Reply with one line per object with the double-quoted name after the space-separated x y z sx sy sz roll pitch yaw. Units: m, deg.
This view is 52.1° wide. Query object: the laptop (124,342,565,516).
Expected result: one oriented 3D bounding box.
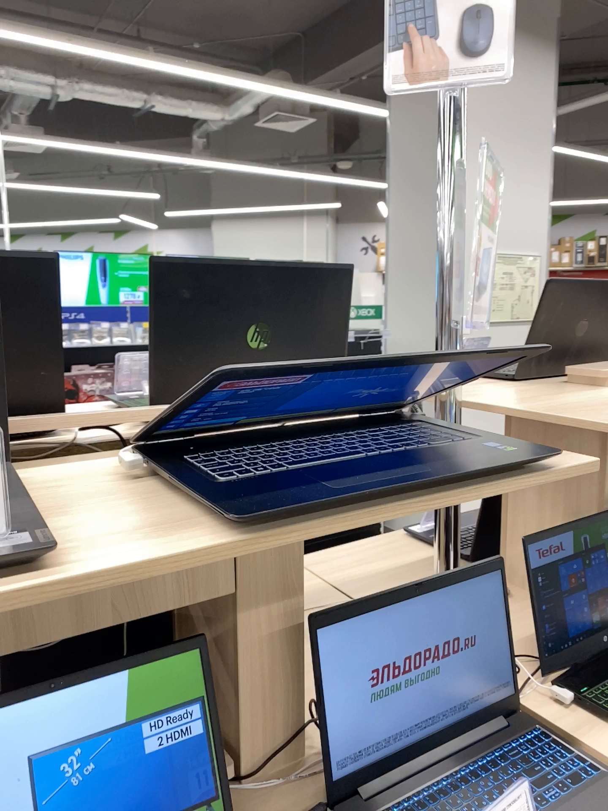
0.041 -0.002 0.686 0.396 0.103 0.263 -5 12 -31 "laptop"
